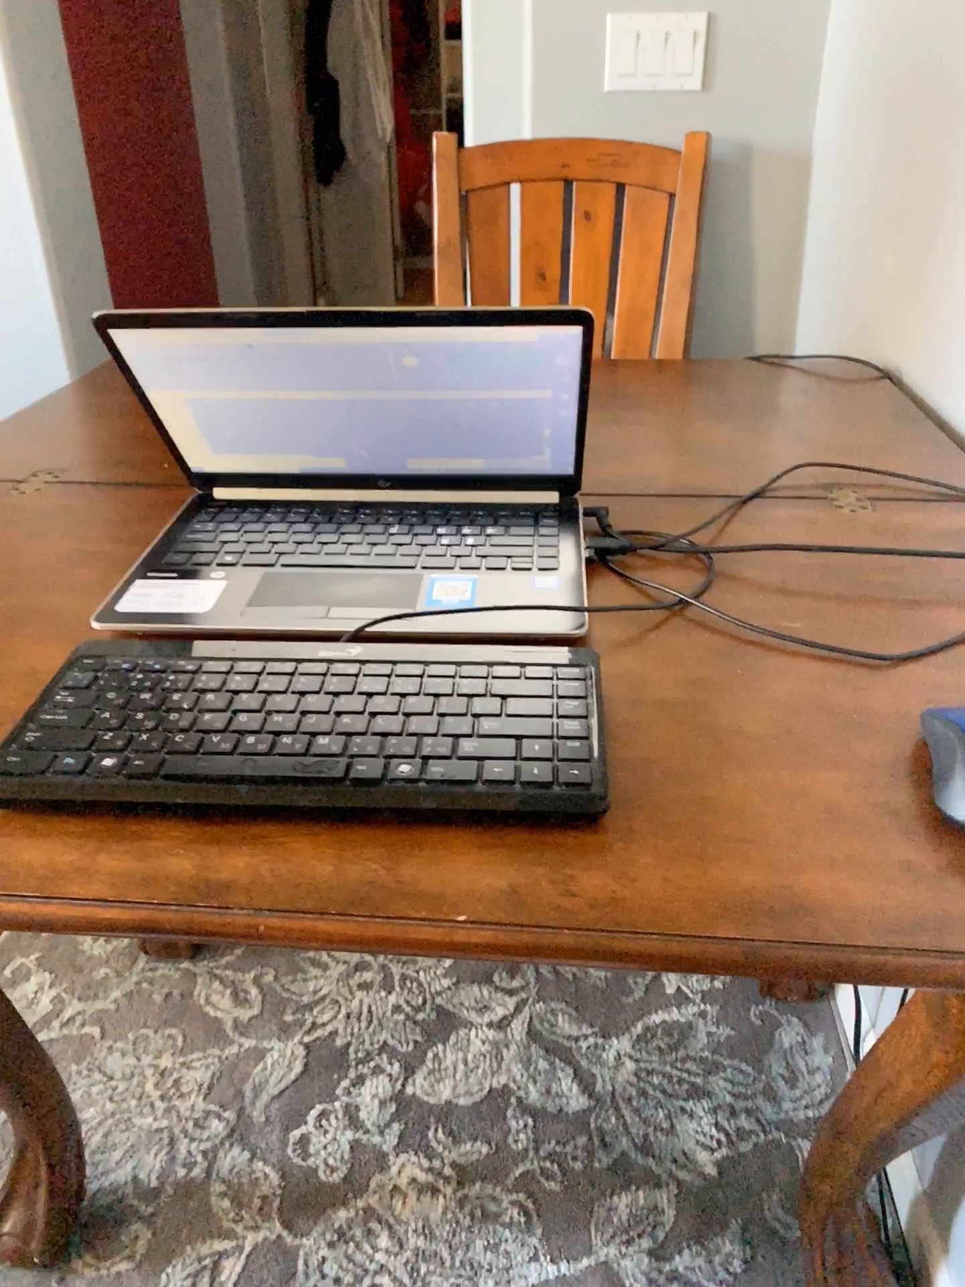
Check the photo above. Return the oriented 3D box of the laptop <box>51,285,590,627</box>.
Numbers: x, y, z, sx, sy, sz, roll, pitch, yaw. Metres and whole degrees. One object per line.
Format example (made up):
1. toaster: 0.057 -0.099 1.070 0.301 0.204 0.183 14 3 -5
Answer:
1. laptop: -0.083 -0.136 0.666 0.302 0.157 0.200 2 31 5
